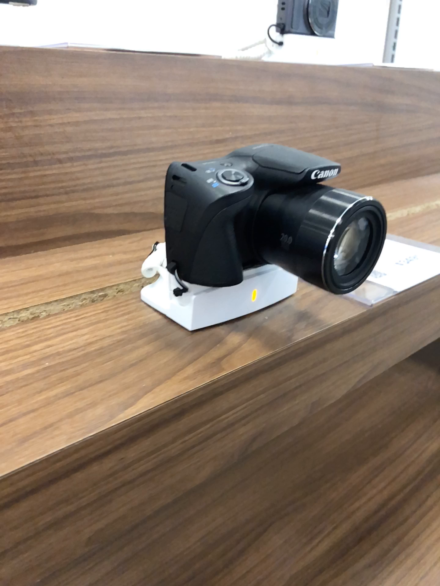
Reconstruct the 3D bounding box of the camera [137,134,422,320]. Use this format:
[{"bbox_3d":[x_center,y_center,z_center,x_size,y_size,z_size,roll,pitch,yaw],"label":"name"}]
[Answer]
[{"bbox_3d":[0.032,-0.049,0.282,0.110,0.070,0.110,-19,29,-40],"label":"camera"}]
